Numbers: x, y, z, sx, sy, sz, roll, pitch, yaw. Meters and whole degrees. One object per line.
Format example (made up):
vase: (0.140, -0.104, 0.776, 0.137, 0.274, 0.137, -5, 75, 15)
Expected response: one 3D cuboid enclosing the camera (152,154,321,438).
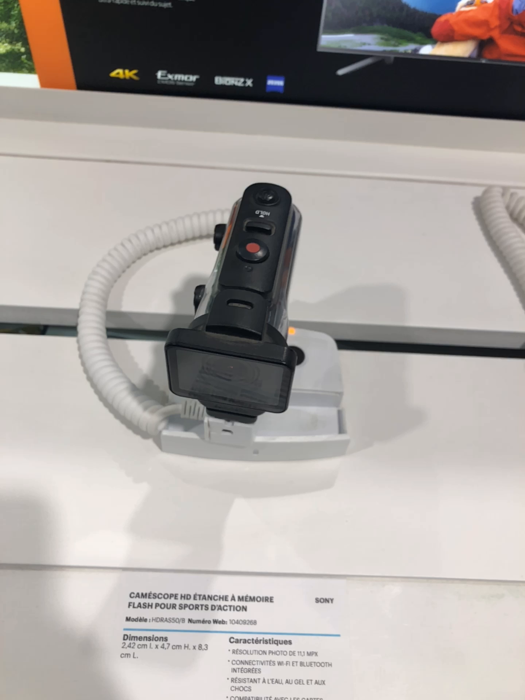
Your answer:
camera: (-0.008, -0.020, 0.237, 0.045, 0.064, 0.088, 9, 63, 2)
